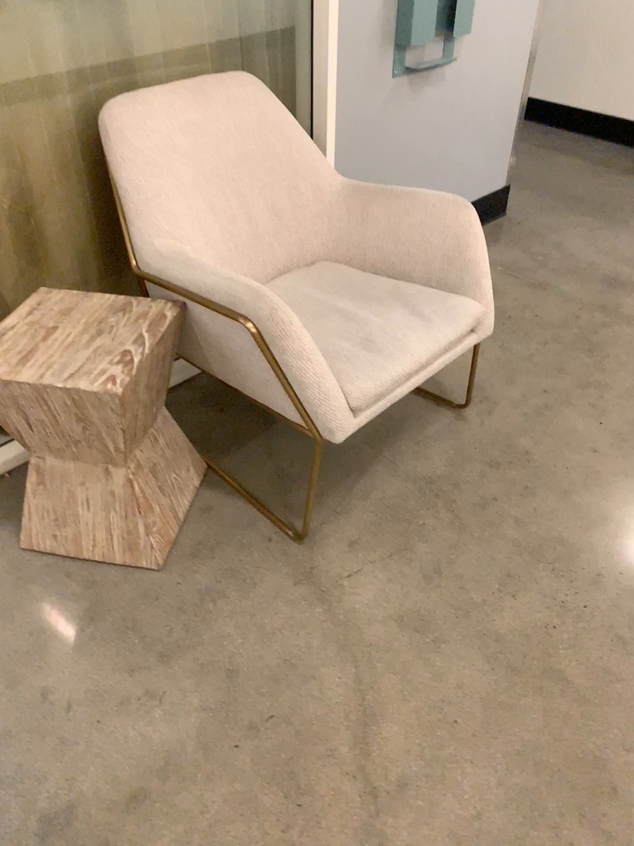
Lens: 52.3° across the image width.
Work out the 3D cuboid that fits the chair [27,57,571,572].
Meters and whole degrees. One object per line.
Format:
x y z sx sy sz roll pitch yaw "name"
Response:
-0.049 -0.350 1.625 0.883 0.815 0.752 30 47 31 "chair"
